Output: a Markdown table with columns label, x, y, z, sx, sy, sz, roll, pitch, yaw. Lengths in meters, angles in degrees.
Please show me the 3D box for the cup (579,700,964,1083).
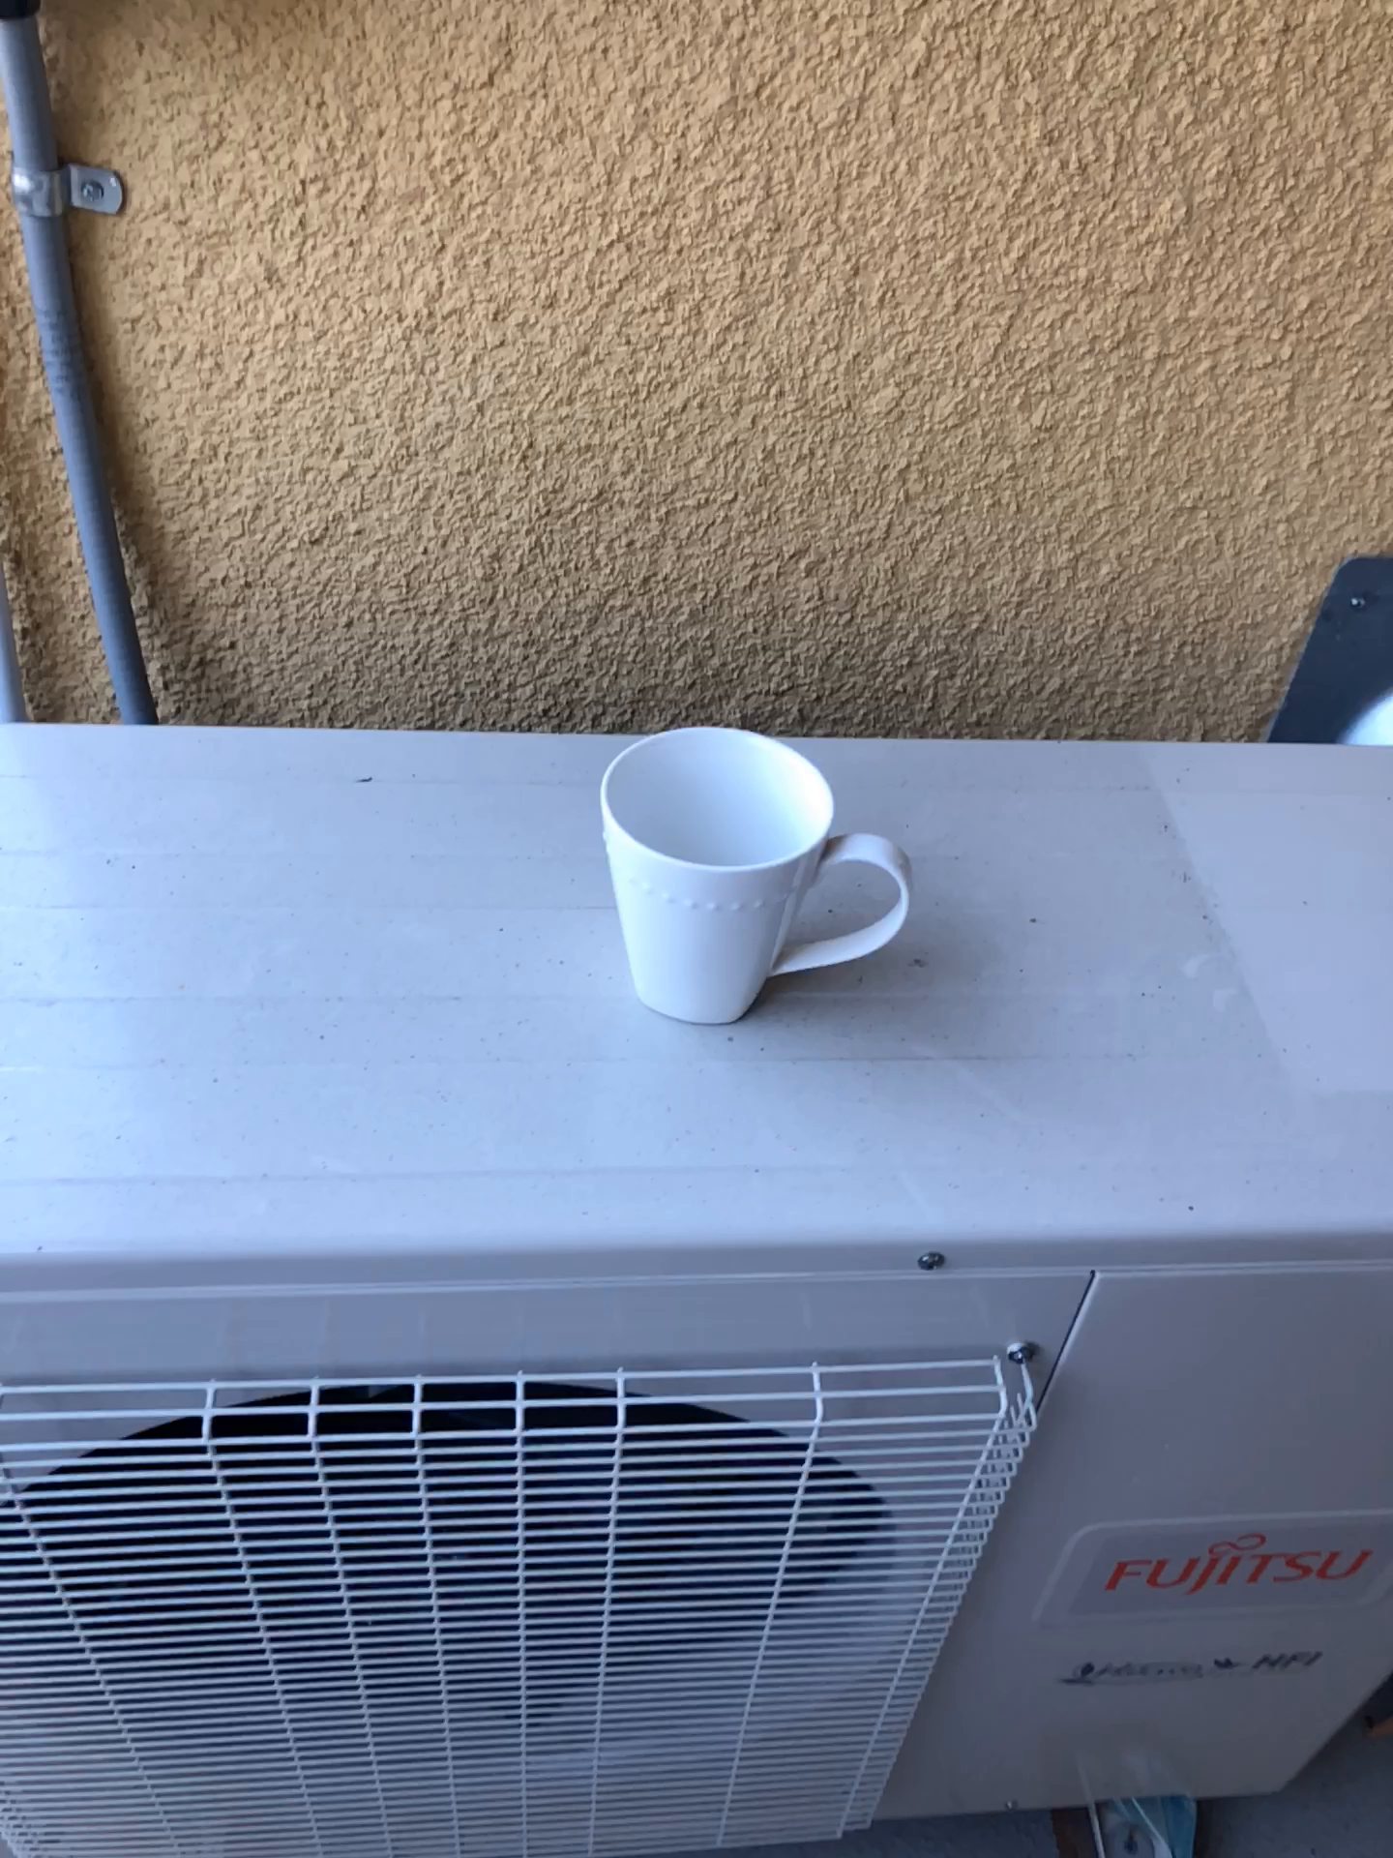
| label | x | y | z | sx | sy | sz | roll | pitch | yaw |
| --- | --- | --- | --- | --- | --- | --- | --- | --- | --- |
| cup | 0.031 | -0.016 | 0.645 | 0.140 | 0.100 | 0.100 | 9 | 41 | 1 |
